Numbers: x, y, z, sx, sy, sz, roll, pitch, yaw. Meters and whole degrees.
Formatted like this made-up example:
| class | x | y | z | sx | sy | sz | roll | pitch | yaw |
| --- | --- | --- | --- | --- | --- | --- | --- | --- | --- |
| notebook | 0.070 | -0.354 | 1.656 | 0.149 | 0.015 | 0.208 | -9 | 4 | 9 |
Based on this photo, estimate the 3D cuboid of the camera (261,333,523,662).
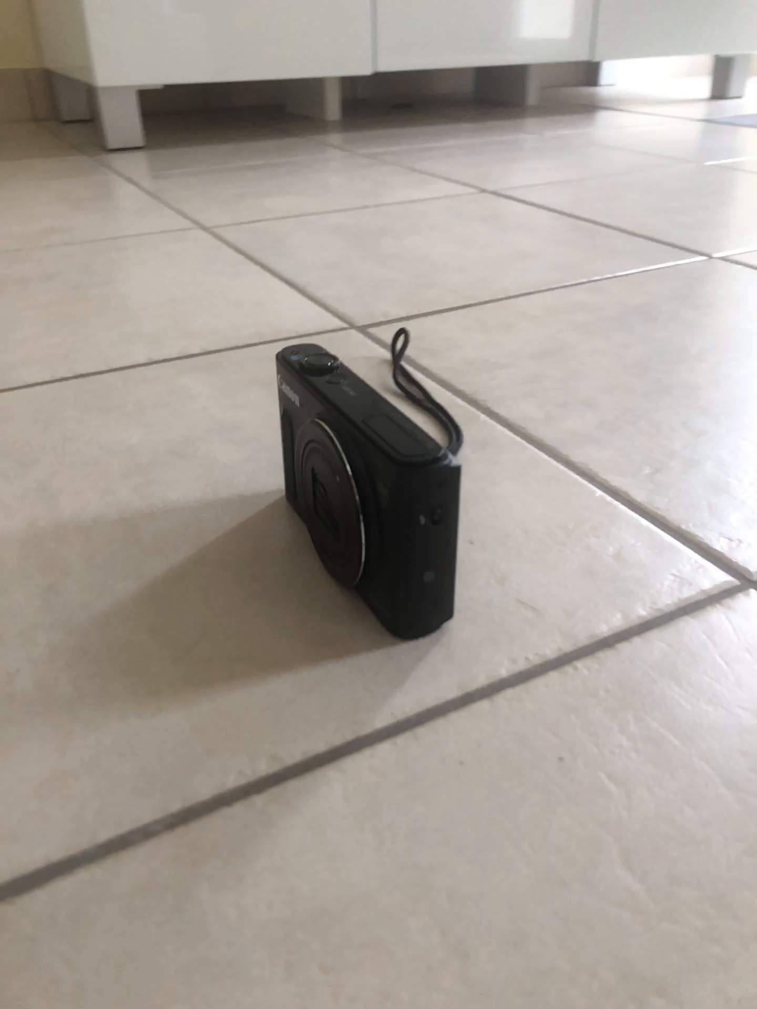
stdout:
| class | x | y | z | sx | sy | sz | roll | pitch | yaw |
| --- | --- | --- | --- | --- | --- | --- | --- | --- | --- |
| camera | -0.001 | -0.010 | 0.279 | 0.040 | 0.060 | 0.110 | -14 | 32 | -20 |
